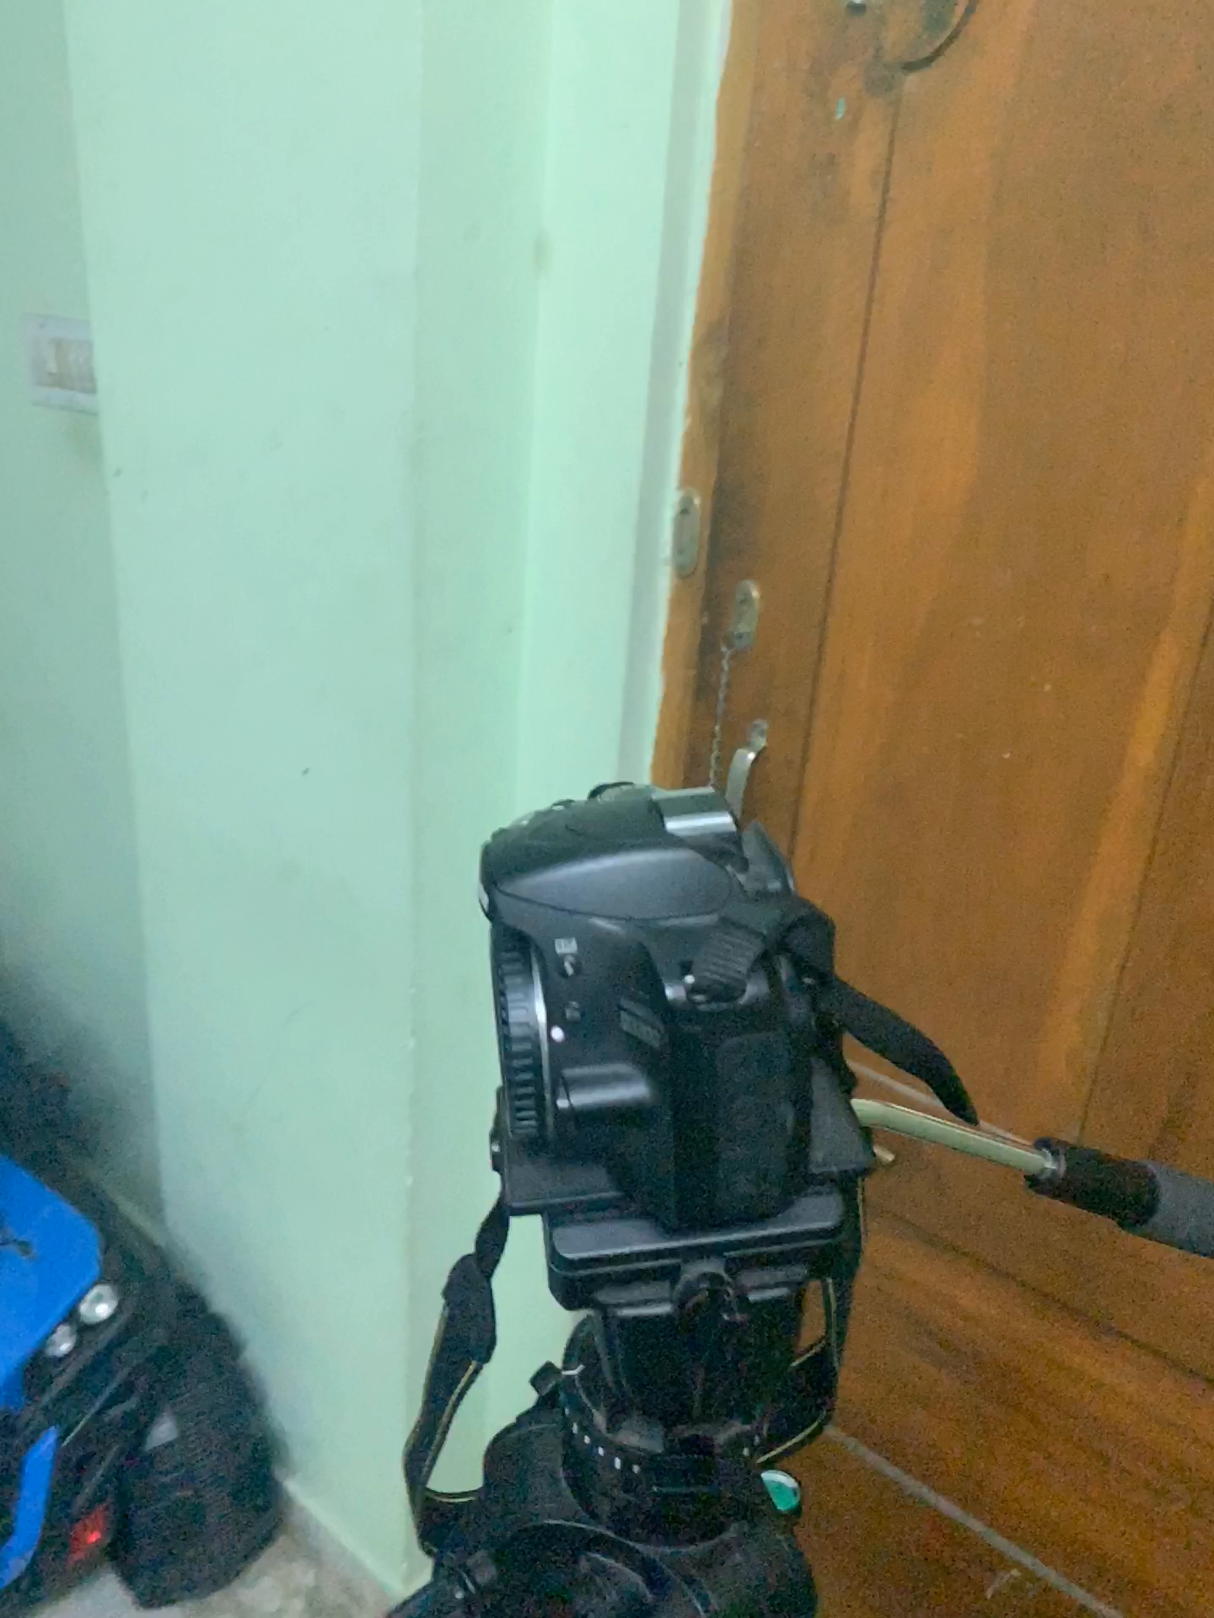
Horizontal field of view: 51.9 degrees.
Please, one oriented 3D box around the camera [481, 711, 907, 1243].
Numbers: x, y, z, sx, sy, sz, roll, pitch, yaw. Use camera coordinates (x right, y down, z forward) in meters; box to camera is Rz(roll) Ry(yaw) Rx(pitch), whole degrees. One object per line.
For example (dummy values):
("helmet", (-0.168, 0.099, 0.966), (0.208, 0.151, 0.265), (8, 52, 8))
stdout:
("camera", (0.013, 0.038, 0.343), (0.086, 0.096, 0.118), (1, 22, -9))
